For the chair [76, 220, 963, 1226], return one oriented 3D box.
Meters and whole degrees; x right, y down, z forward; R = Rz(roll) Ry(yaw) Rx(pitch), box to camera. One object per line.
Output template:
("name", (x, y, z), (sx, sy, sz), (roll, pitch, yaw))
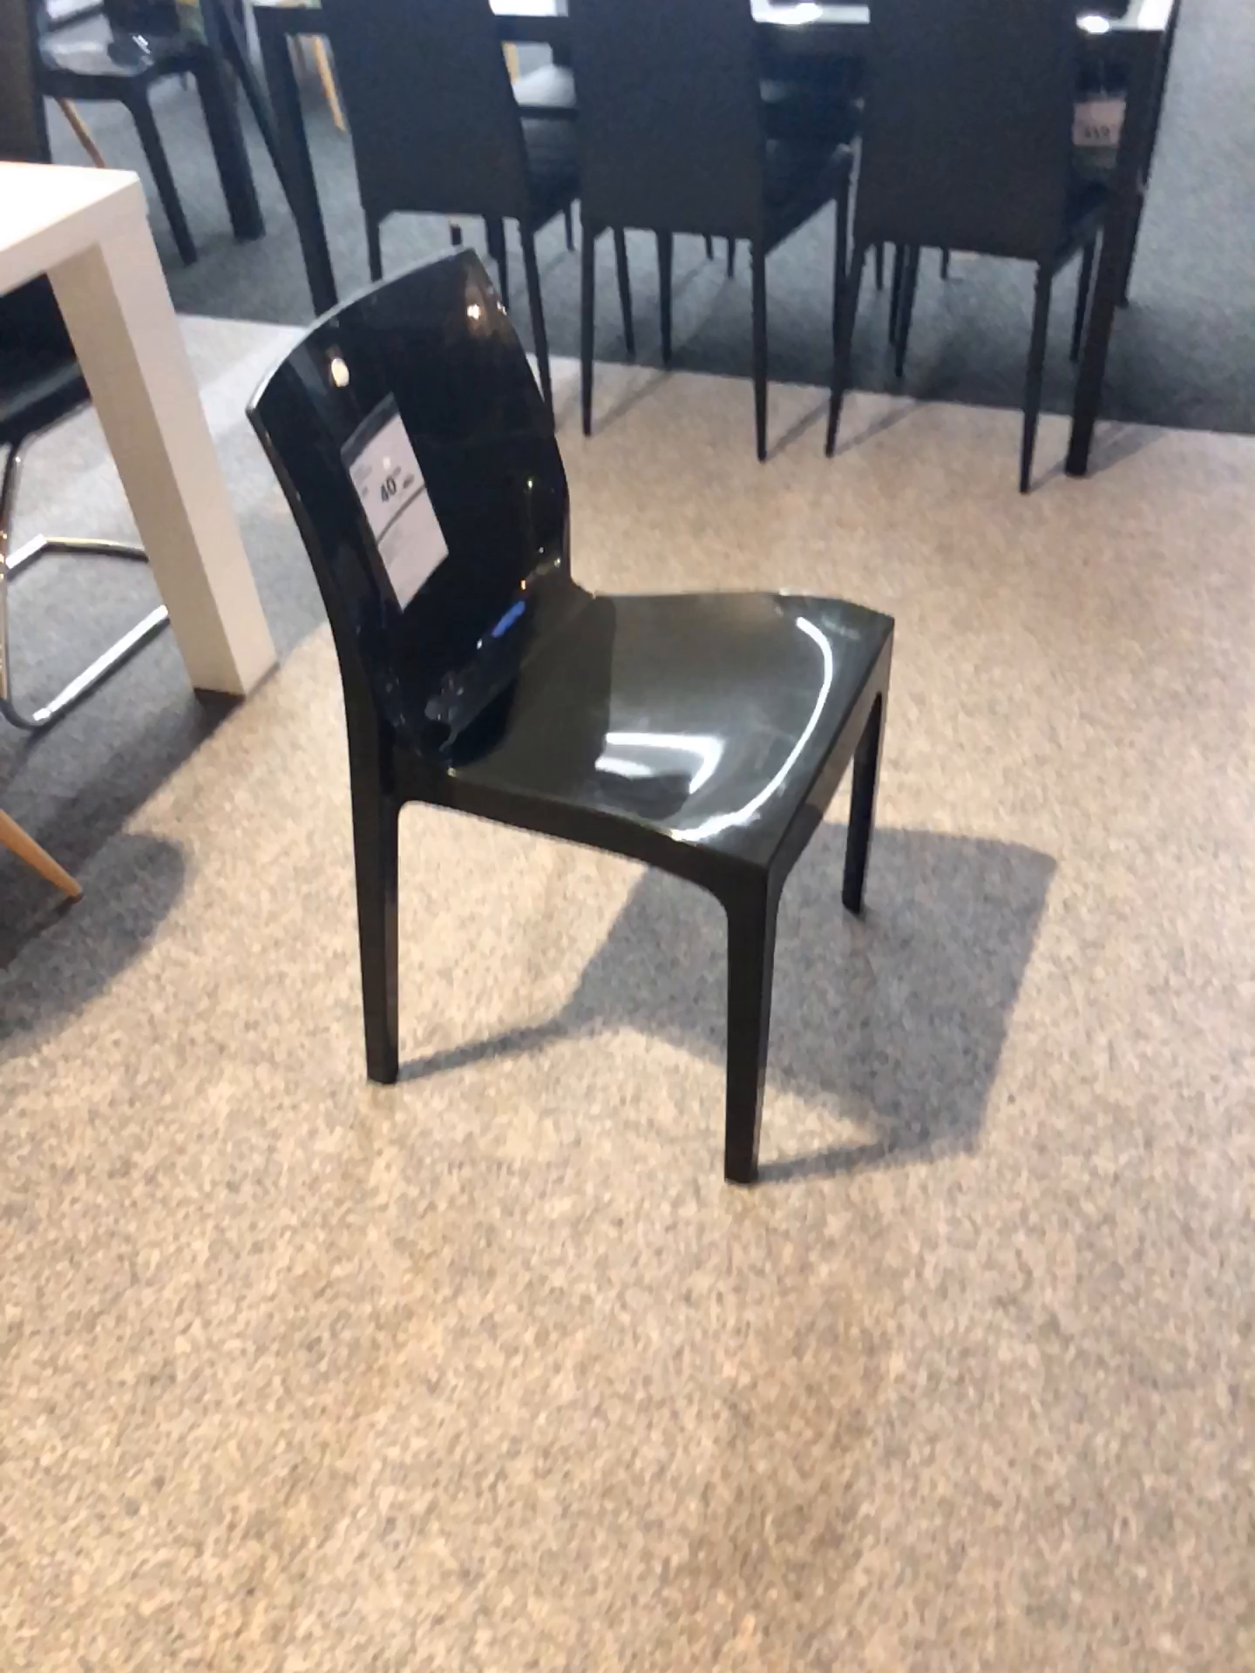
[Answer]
("chair", (-0.038, -0.120, 1.389), (0.570, 0.766, 0.523), (12, 44, 18))
